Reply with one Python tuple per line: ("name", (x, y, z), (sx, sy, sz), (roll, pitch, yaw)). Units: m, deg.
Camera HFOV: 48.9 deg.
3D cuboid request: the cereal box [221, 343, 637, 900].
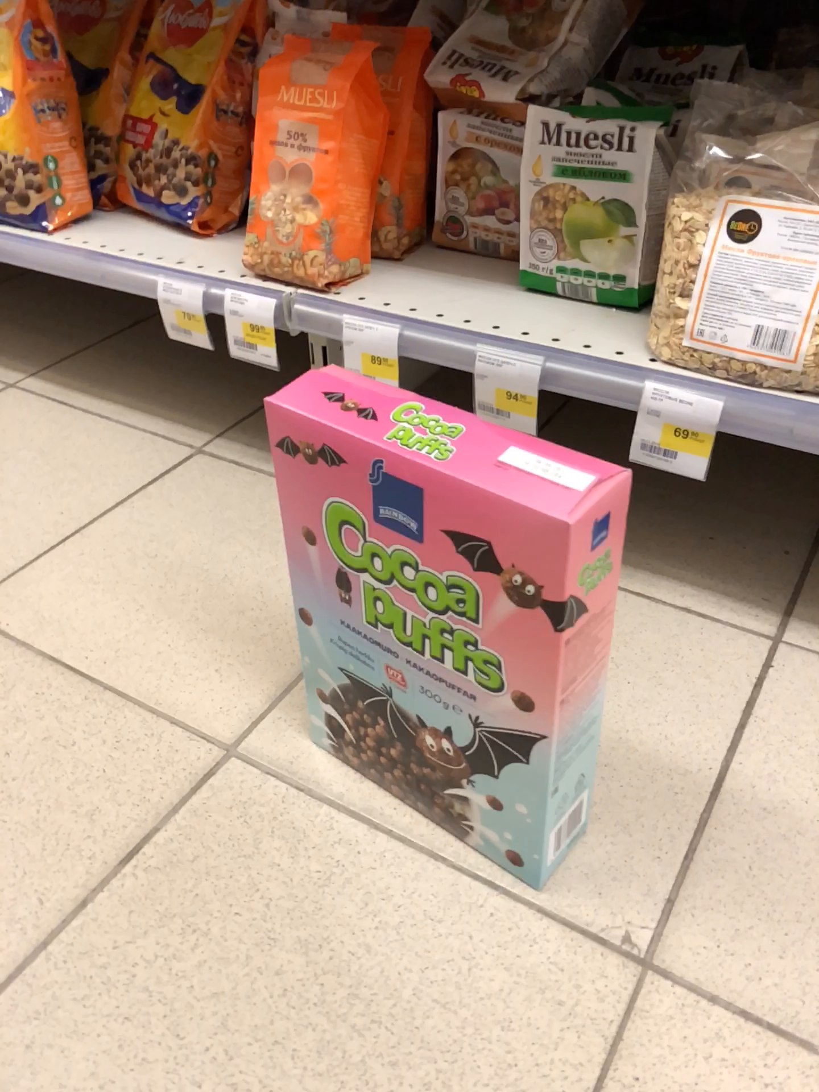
("cereal box", (0.005, 0.045, 0.517), (0.211, 0.268, 0.060), (25, 44, 32))
